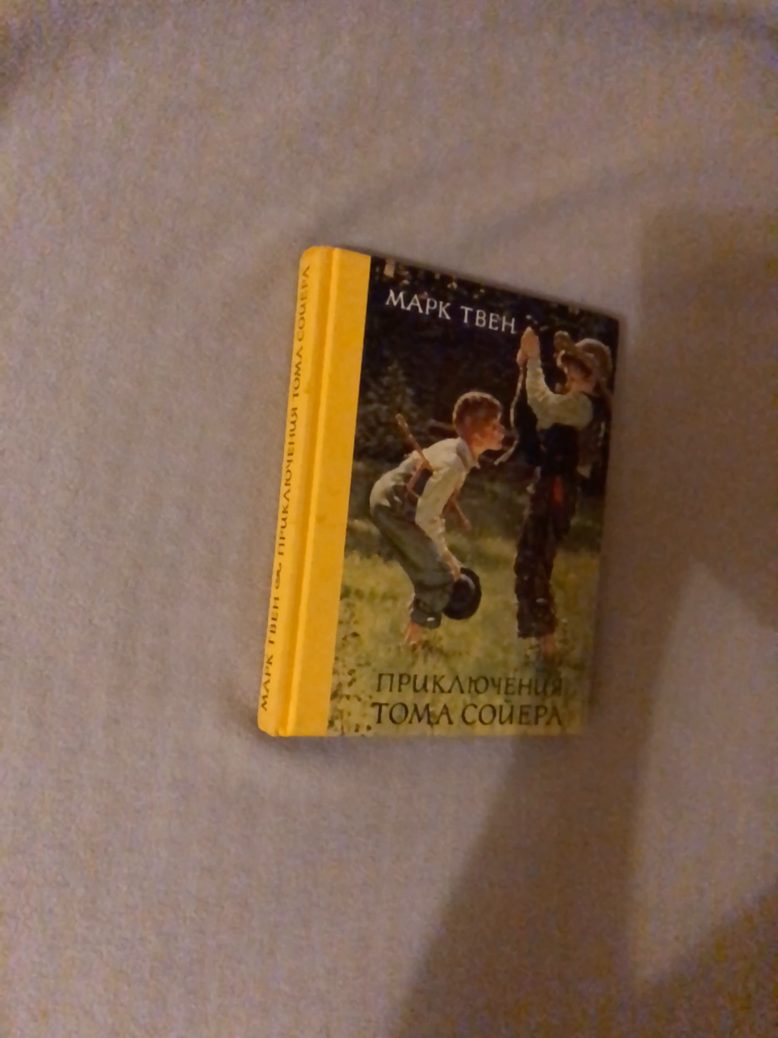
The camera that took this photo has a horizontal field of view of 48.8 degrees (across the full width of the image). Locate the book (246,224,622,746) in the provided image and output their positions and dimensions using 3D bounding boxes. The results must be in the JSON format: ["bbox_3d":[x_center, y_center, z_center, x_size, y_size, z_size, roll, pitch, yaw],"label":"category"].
[{"bbox_3d":[0.028,-0.008,0.415,0.171,0.030,0.224,7,85,-25],"label":"book"}]
